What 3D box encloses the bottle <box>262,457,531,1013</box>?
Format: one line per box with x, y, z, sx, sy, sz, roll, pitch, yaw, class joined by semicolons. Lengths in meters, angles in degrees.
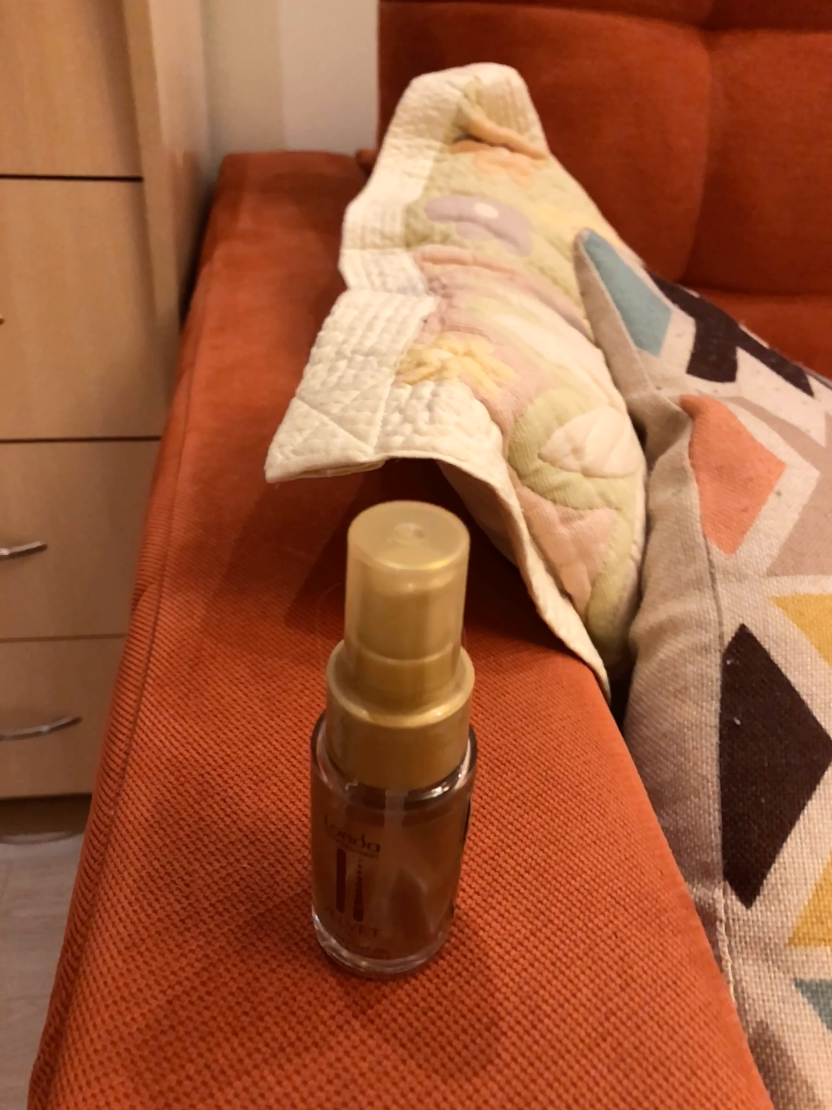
-0.004;0.039;0.187;0.034;0.106;0.033;2;31;-1;bottle
